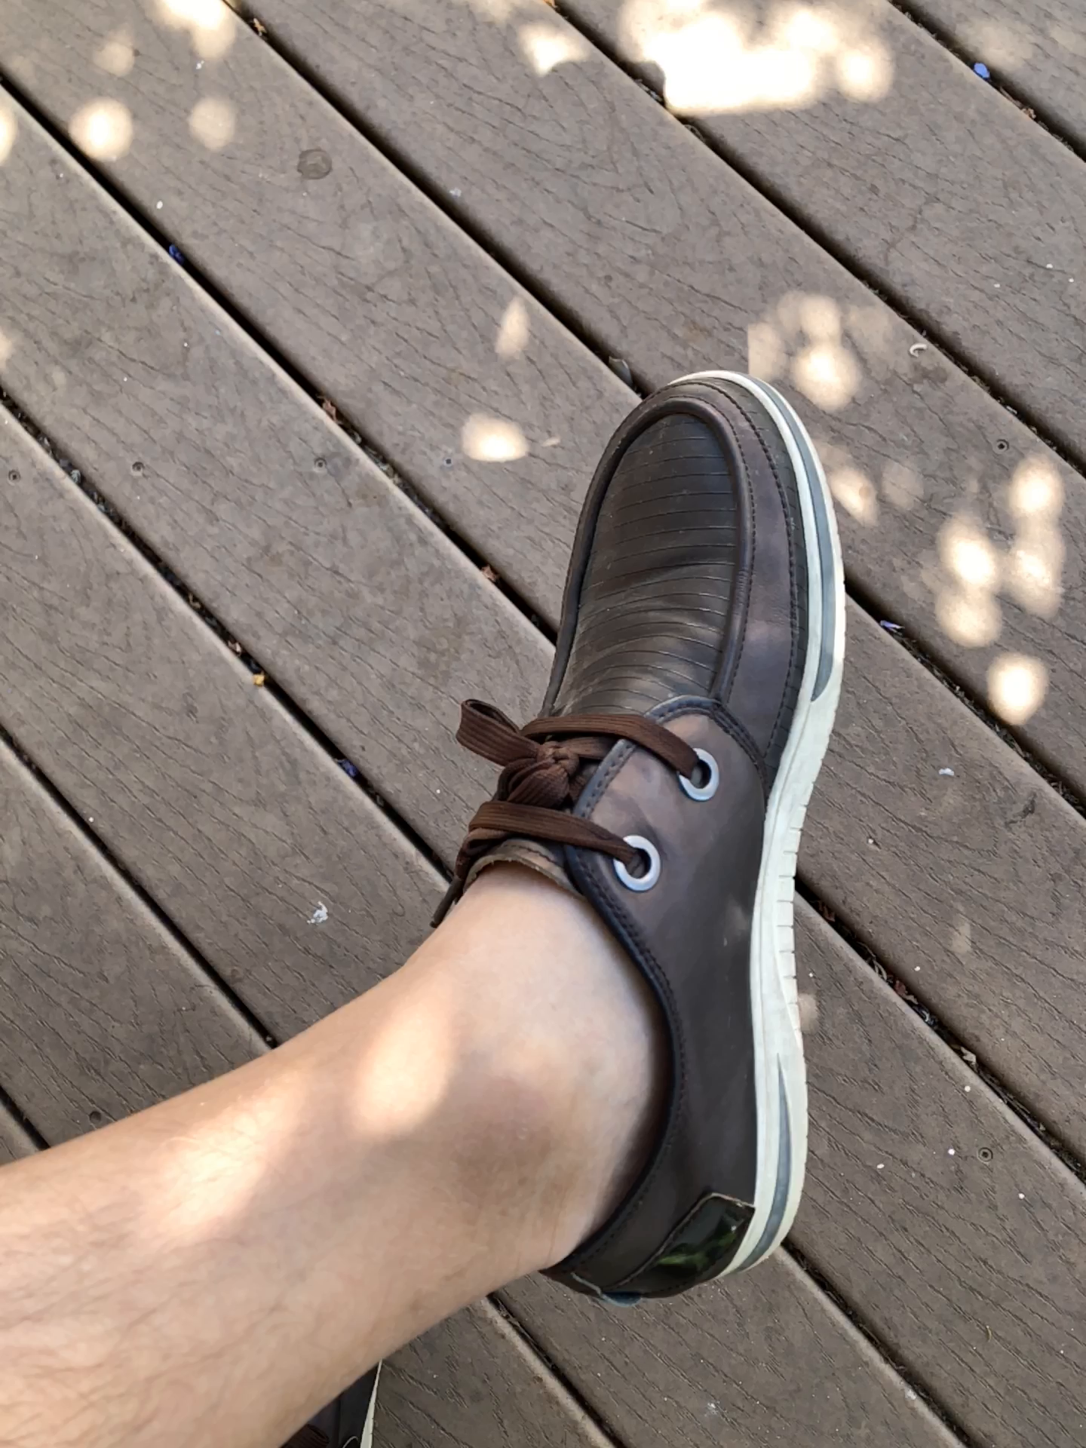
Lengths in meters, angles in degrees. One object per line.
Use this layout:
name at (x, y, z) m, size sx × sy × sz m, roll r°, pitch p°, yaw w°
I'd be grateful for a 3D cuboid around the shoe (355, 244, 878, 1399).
shoe at (0.020, 0.022, 0.325) m, size 0.090 × 0.083 × 0.255 m, roll 0°, pitch 84°, yaw 50°

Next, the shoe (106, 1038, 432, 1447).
shoe at (-0.131, 0.298, 0.603) m, size 0.103 × 0.099 × 0.245 m, roll 6°, pitch 86°, yaw 6°
